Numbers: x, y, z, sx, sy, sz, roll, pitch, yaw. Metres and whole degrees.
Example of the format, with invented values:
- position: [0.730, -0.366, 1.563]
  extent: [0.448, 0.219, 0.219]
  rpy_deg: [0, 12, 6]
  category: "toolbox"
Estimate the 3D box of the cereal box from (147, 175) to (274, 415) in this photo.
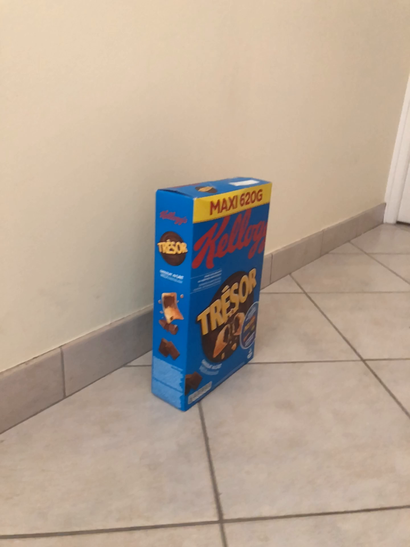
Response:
- position: [0.009, 0.020, 0.658]
  extent: [0.070, 0.299, 0.191]
  rpy_deg: [17, 24, 32]
  category: "cereal box"
